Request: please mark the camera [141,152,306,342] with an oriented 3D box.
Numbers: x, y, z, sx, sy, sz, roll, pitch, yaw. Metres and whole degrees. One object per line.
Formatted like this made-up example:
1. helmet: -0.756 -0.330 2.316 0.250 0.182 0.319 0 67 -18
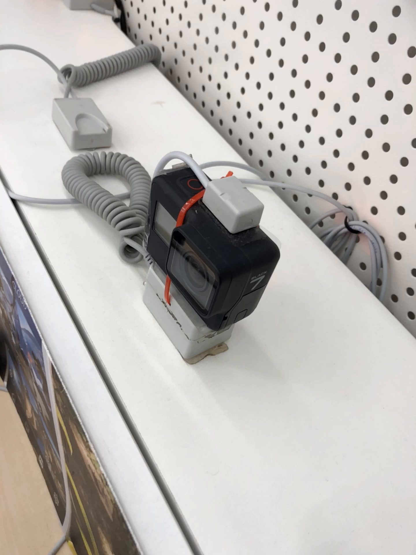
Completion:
1. camera: 0.003 -0.015 0.201 0.029 0.044 0.067 -21 58 -32
